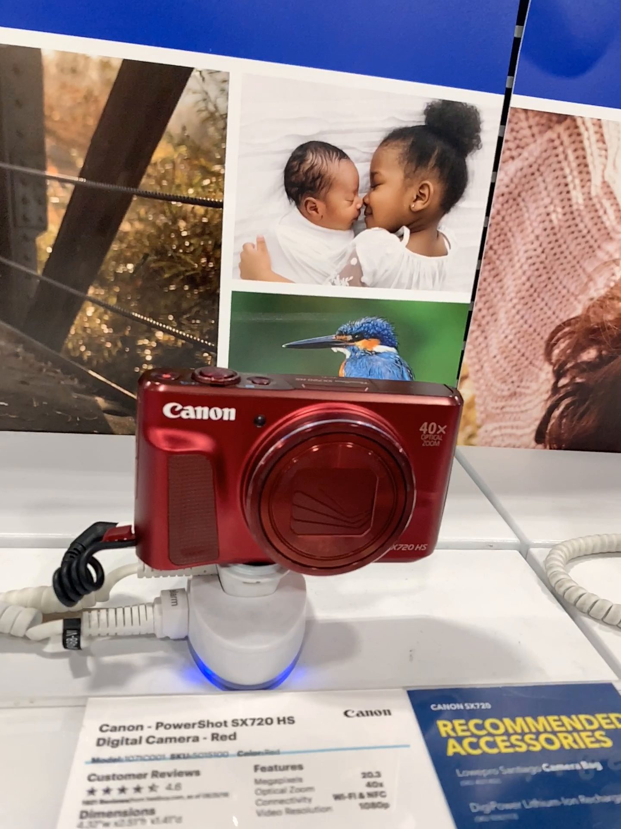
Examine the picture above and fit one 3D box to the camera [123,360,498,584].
[{"bbox_3d":[-0.003,0.019,0.213,0.110,0.060,0.037,3,18,-12],"label":"camera"}]
